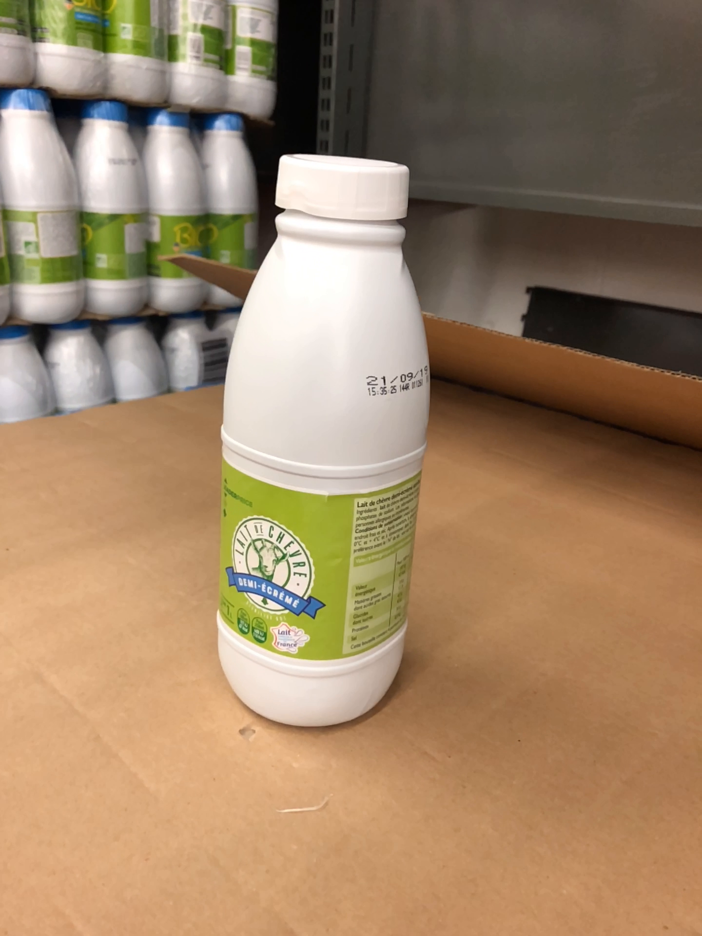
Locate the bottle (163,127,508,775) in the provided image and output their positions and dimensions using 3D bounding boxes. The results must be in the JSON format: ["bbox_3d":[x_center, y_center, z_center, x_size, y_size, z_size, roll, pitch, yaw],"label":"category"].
[{"bbox_3d":[-0.011,-0.011,0.329,0.100,0.239,0.080,16,24,31],"label":"bottle"}]
